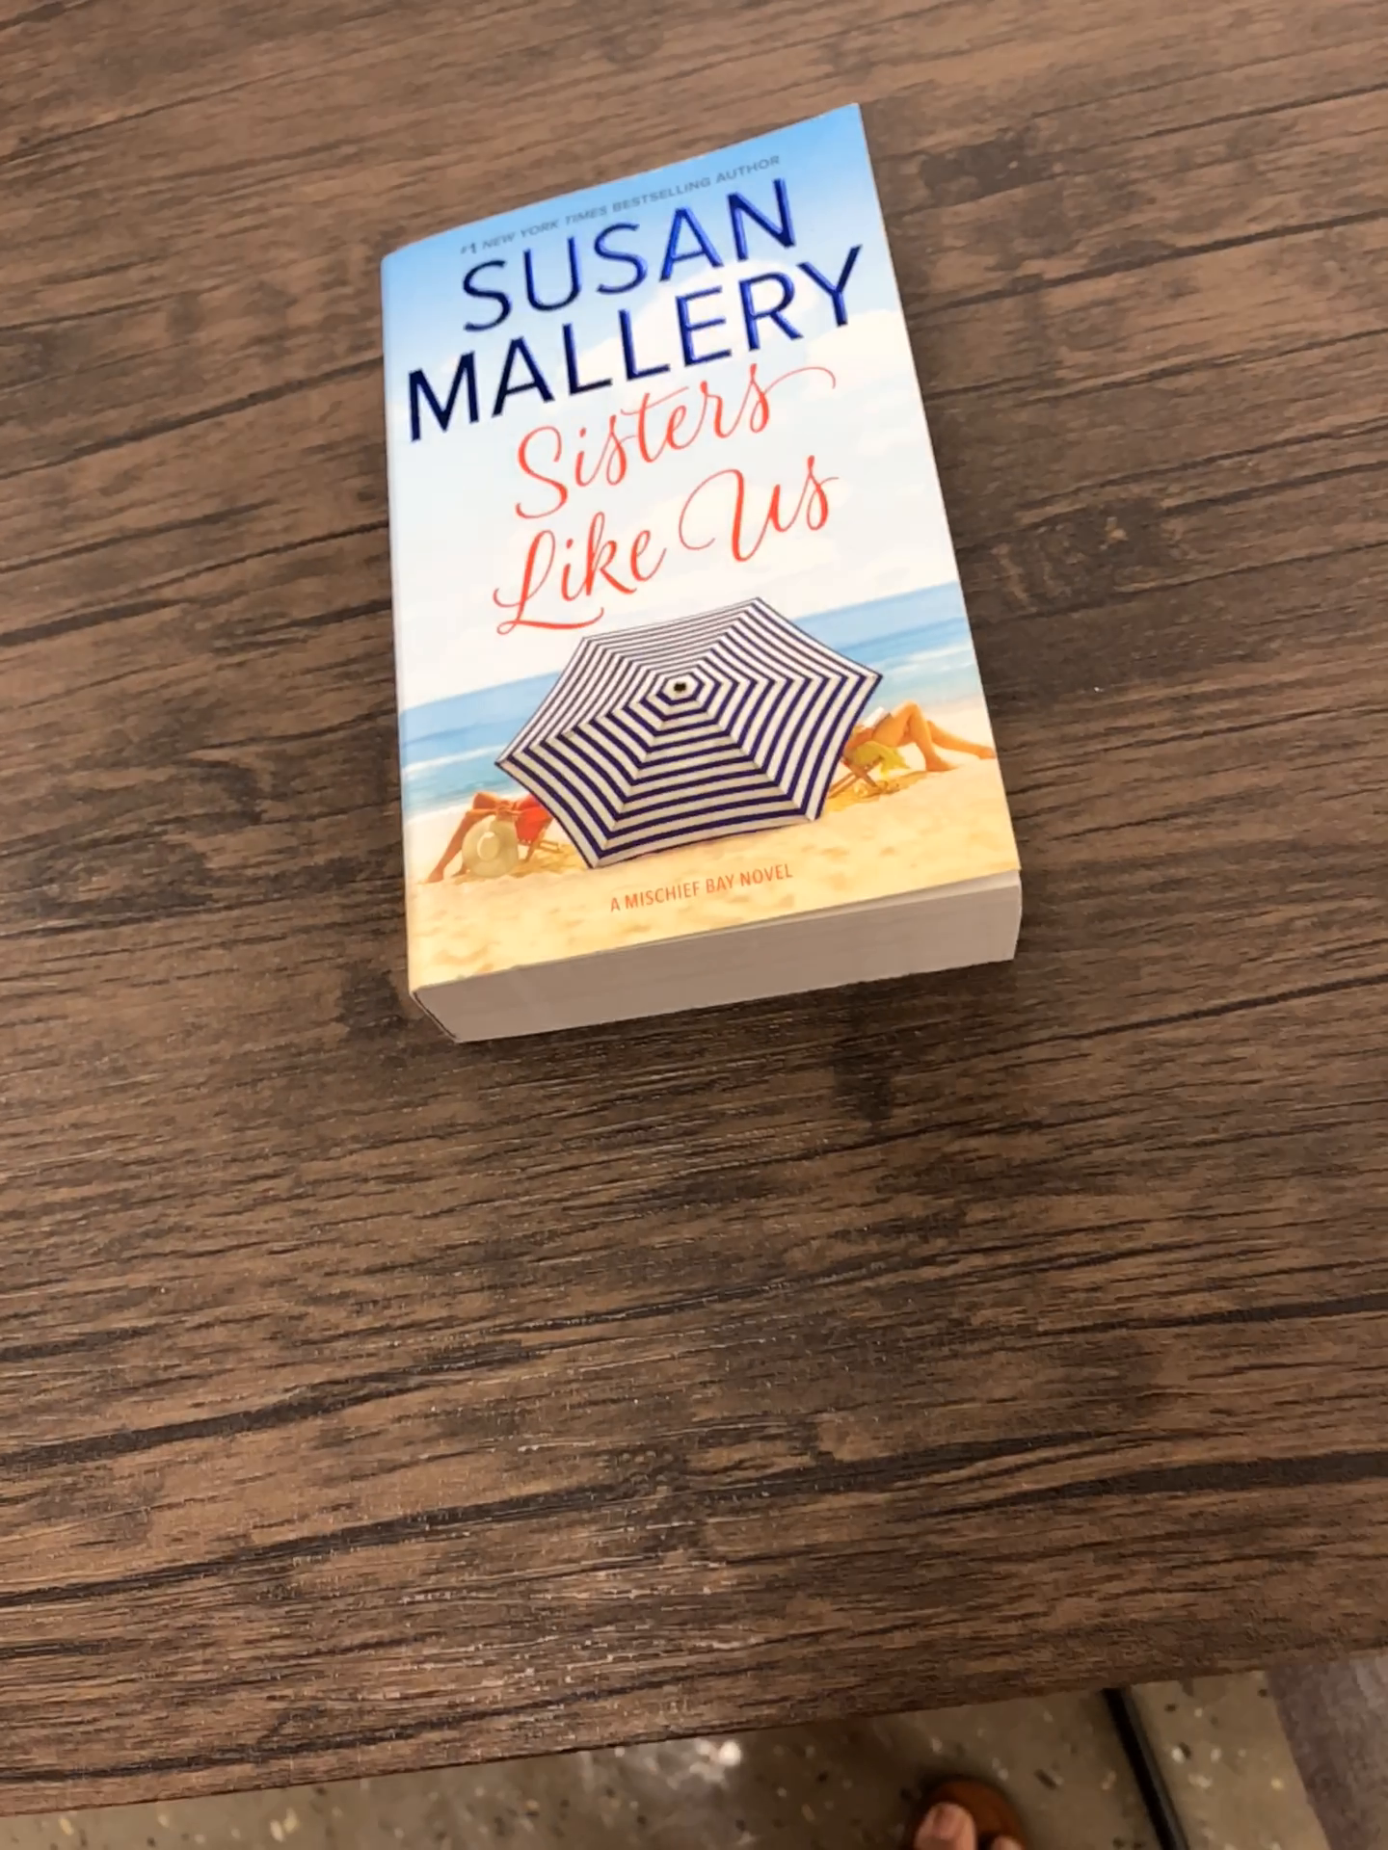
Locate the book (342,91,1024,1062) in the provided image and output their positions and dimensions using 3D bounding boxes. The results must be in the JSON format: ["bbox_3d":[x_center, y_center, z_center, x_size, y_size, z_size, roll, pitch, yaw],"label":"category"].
[{"bbox_3d":[-0.006,-0.065,0.292,0.104,0.043,0.160,-11,68,11],"label":"book"}]
